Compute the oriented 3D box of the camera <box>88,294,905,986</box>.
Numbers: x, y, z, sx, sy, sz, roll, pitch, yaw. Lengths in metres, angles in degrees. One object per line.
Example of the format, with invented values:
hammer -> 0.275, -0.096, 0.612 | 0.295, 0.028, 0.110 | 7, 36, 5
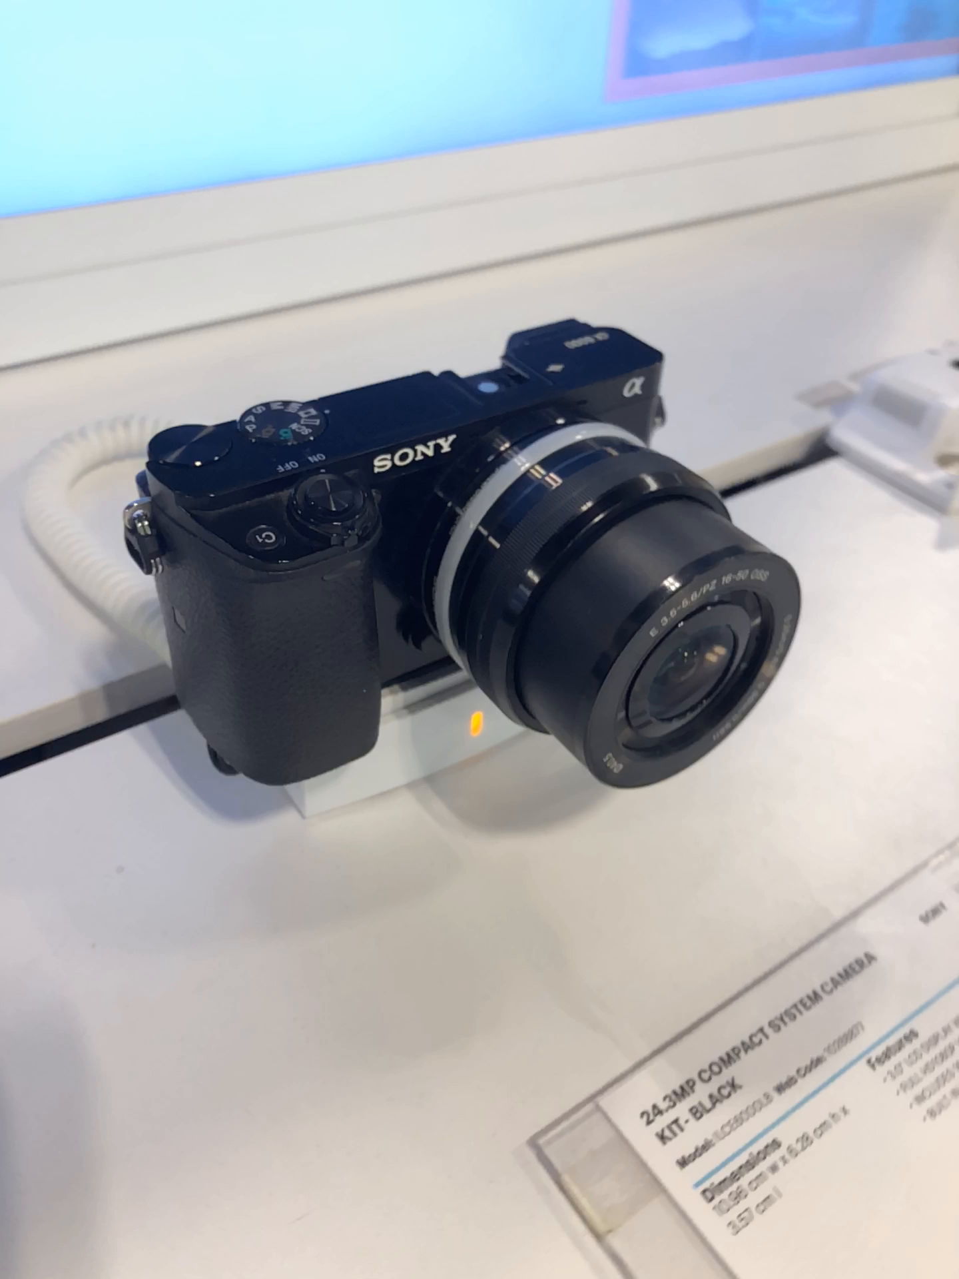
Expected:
camera -> 0.002, -0.013, 0.237 | 0.130, 0.070, 0.100 | -23, 46, -28
